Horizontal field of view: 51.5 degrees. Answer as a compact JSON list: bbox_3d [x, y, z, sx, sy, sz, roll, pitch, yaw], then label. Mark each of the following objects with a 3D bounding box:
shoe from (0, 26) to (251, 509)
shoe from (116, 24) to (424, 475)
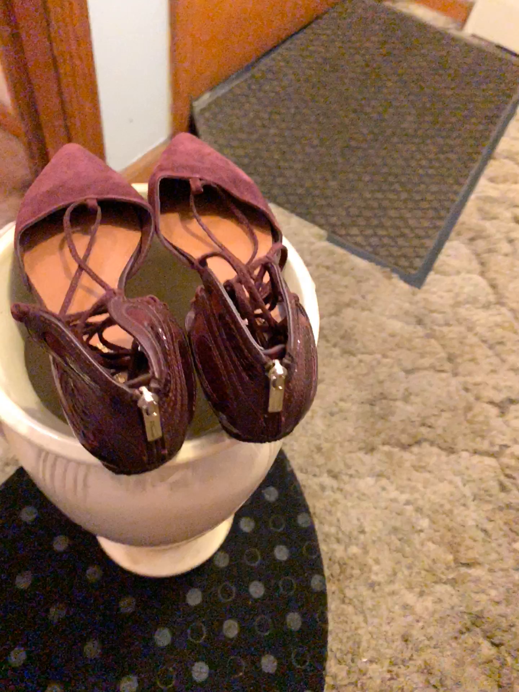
[{"bbox_3d":[-0.096,-0.060,0.308,0.092,0.099,0.261,-12,60,-17],"label":"shoe"},{"bbox_3d":[-0.016,-0.073,0.325,0.092,0.099,0.261,-10,60,-15],"label":"shoe"}]
